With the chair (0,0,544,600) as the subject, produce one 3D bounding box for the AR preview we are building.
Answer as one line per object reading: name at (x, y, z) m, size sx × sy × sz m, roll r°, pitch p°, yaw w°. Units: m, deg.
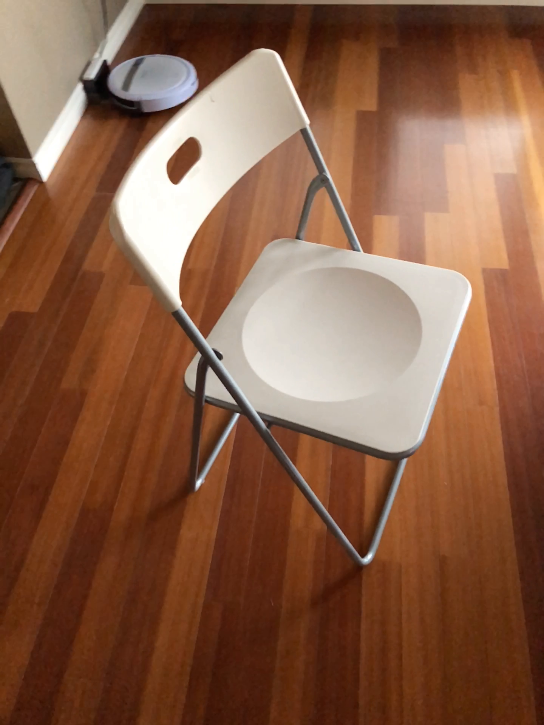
chair at (0.084, -0.081, 0.836) m, size 0.541 × 0.577 × 0.462 m, roll 18°, pitch 56°, yaw 17°
